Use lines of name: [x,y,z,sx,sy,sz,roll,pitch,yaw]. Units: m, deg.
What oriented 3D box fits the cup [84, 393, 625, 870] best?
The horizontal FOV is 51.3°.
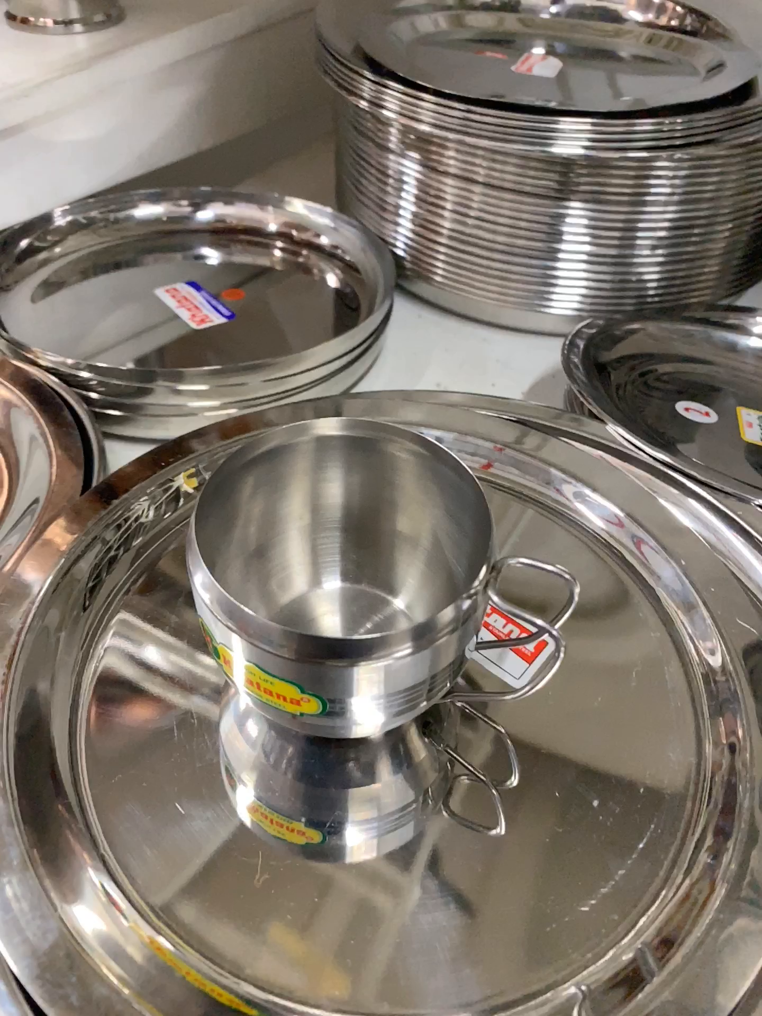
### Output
cup: [-0.002,0.021,0.177,0.090,0.040,0.070,18,47,16]
